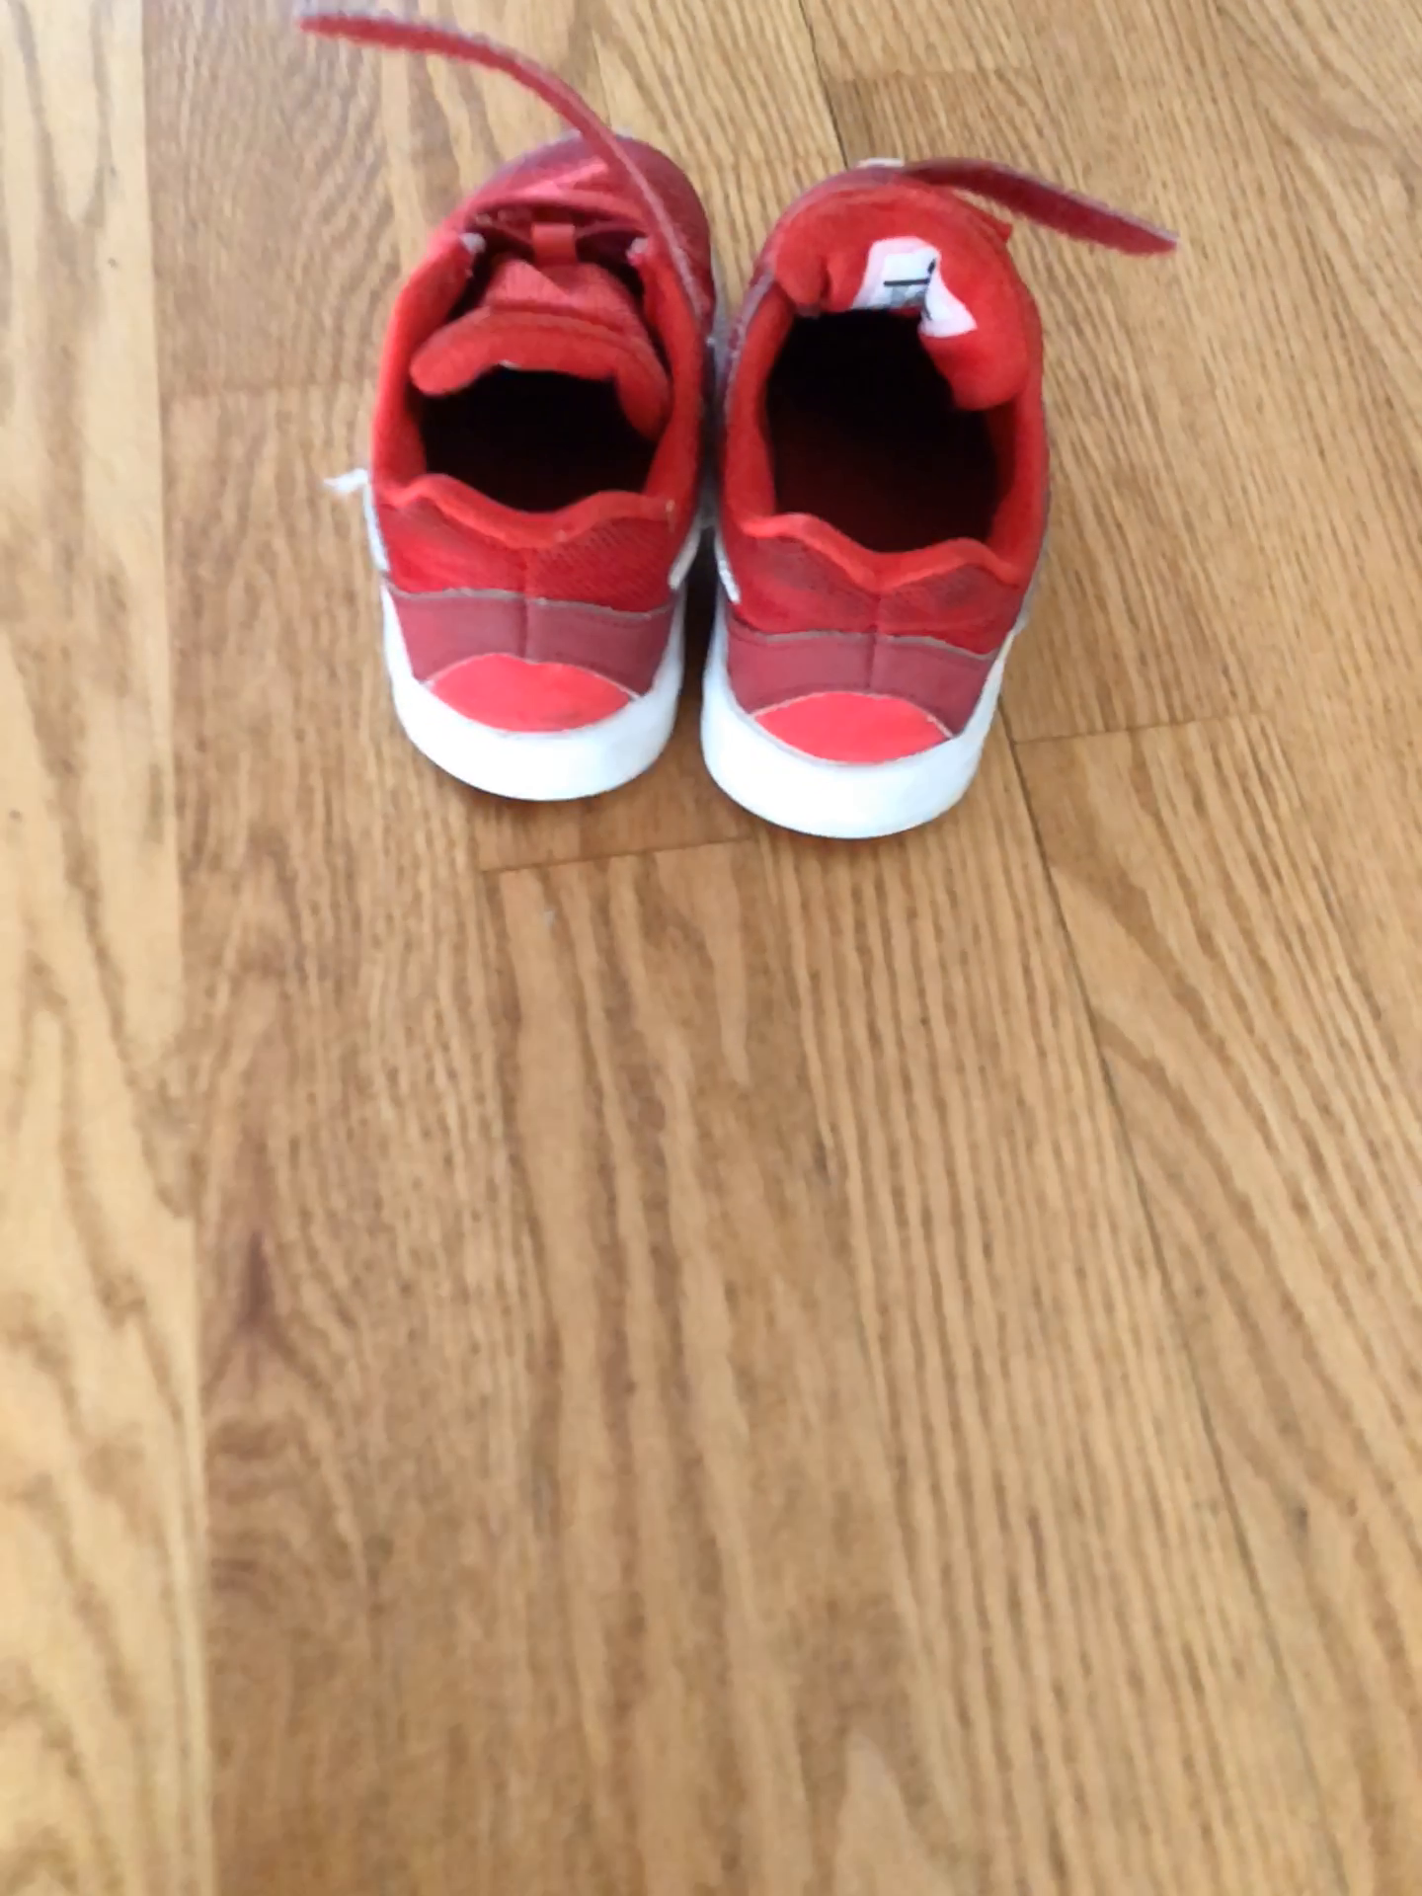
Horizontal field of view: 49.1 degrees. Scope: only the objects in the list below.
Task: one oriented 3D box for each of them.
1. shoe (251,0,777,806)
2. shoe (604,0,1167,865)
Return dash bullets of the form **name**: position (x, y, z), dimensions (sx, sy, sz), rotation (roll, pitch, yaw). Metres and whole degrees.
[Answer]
- **shoe**: position (-0.031, -0.124, 0.311), dimensions (0.080, 0.069, 0.176), rotation (3, 65, -3)
- **shoe**: position (0.035, -0.116, 0.311), dimensions (0.088, 0.069, 0.178), rotation (8, 65, -1)
